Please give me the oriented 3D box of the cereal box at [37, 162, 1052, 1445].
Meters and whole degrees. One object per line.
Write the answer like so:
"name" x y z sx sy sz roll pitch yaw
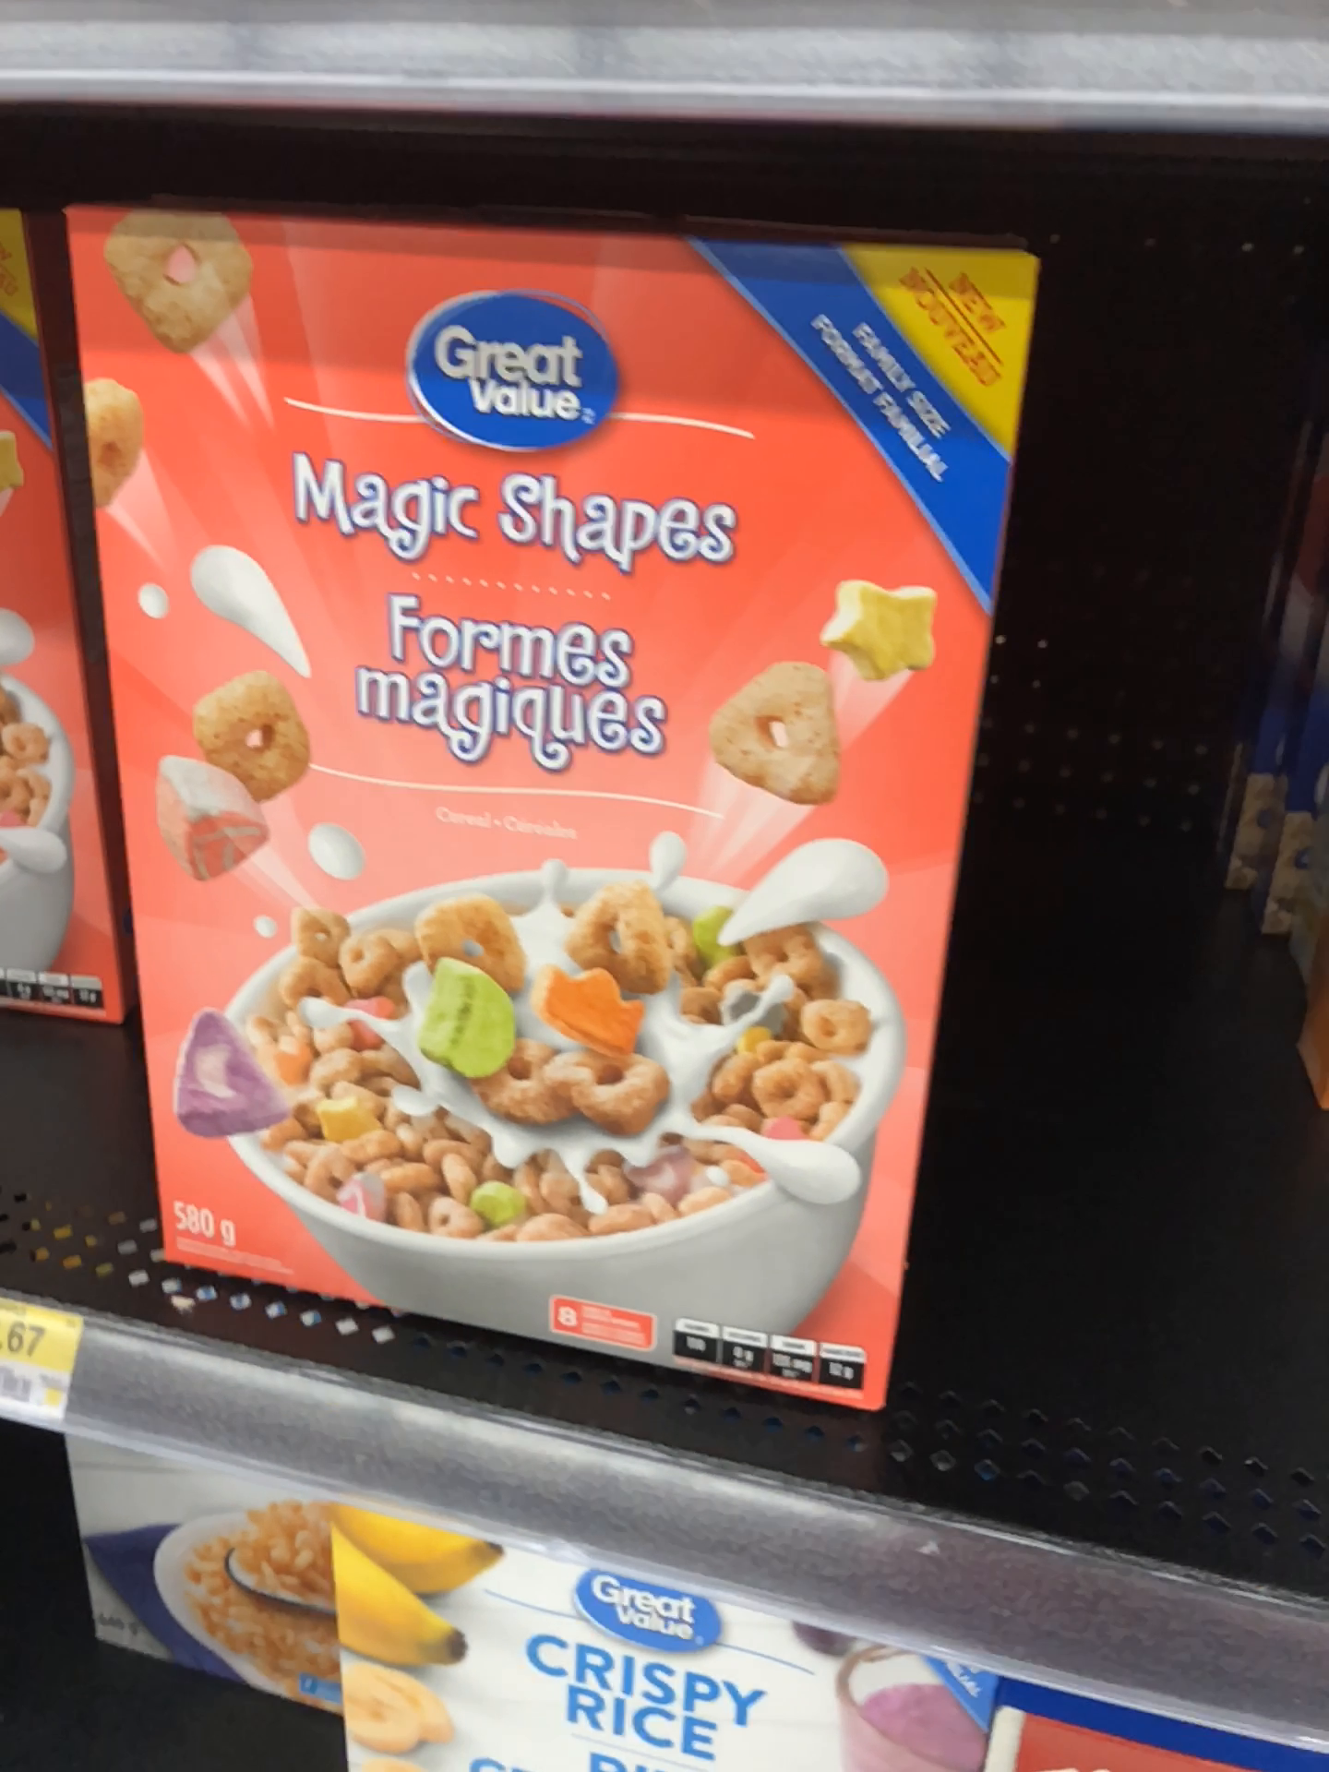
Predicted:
"cereal box" -0.037 -0.022 0.445 0.250 0.339 0.080 8 22 12
